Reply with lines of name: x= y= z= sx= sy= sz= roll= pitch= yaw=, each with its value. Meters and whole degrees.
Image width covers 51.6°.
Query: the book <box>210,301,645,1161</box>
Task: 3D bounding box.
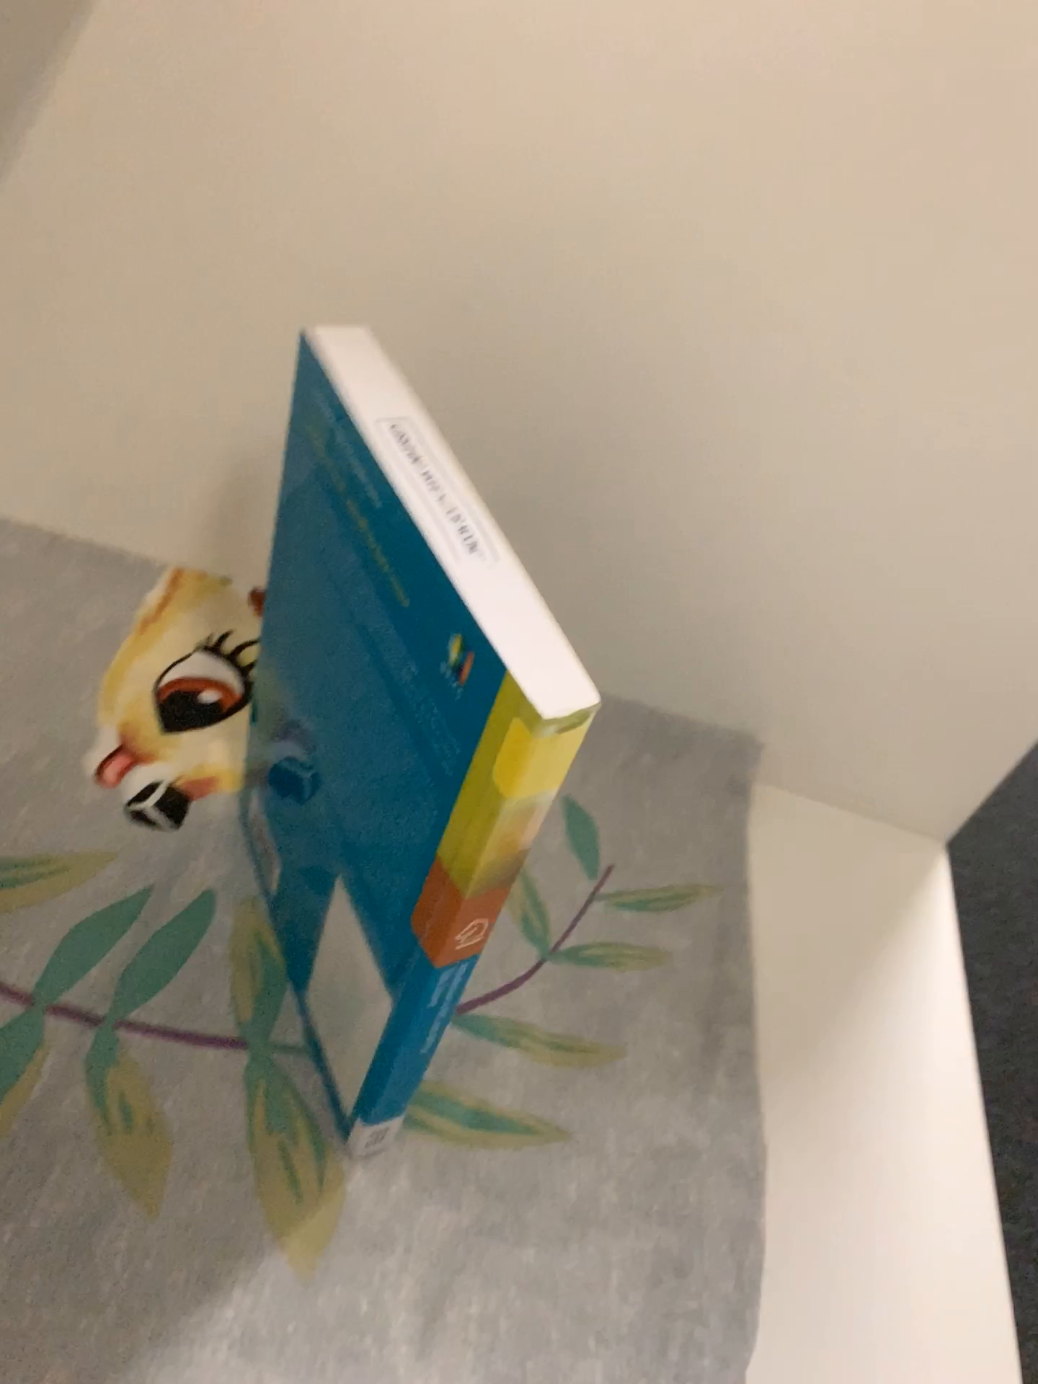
book: x=-0.054 y=0.022 z=0.353 sx=0.030 sy=0.228 sz=0.171 roll=-9 pitch=50 yaw=-30

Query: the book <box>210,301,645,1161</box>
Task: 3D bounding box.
book: x=-0.054 y=0.022 z=0.353 sx=0.030 sy=0.228 sz=0.171 roll=-9 pitch=50 yaw=-30
